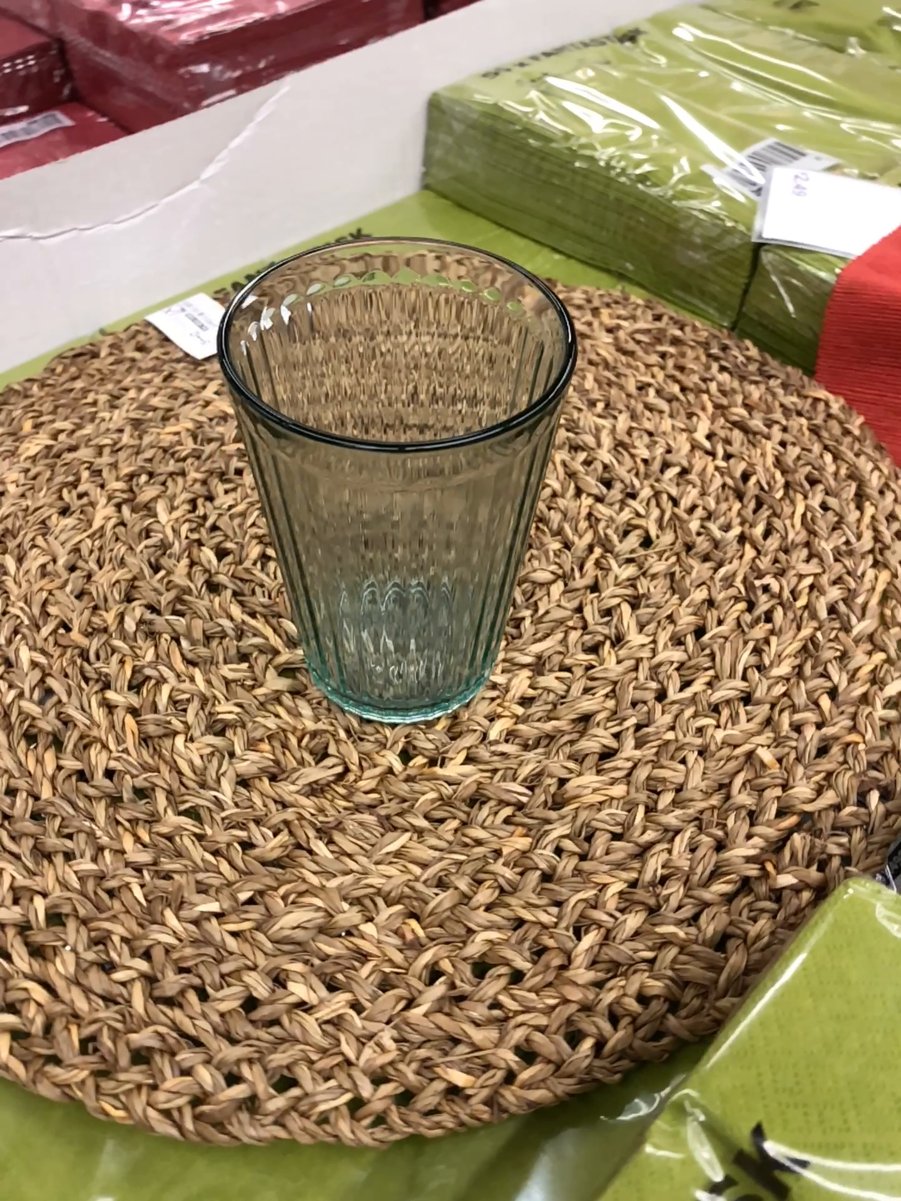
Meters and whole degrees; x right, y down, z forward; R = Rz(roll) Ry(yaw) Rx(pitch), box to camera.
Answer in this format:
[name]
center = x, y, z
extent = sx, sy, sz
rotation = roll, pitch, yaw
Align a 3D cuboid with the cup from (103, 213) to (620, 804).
[cup]
center = -0.015, -0.023, 0.247
extent = 0.080, 0.100, 0.080
rotation = -1, 46, 1
